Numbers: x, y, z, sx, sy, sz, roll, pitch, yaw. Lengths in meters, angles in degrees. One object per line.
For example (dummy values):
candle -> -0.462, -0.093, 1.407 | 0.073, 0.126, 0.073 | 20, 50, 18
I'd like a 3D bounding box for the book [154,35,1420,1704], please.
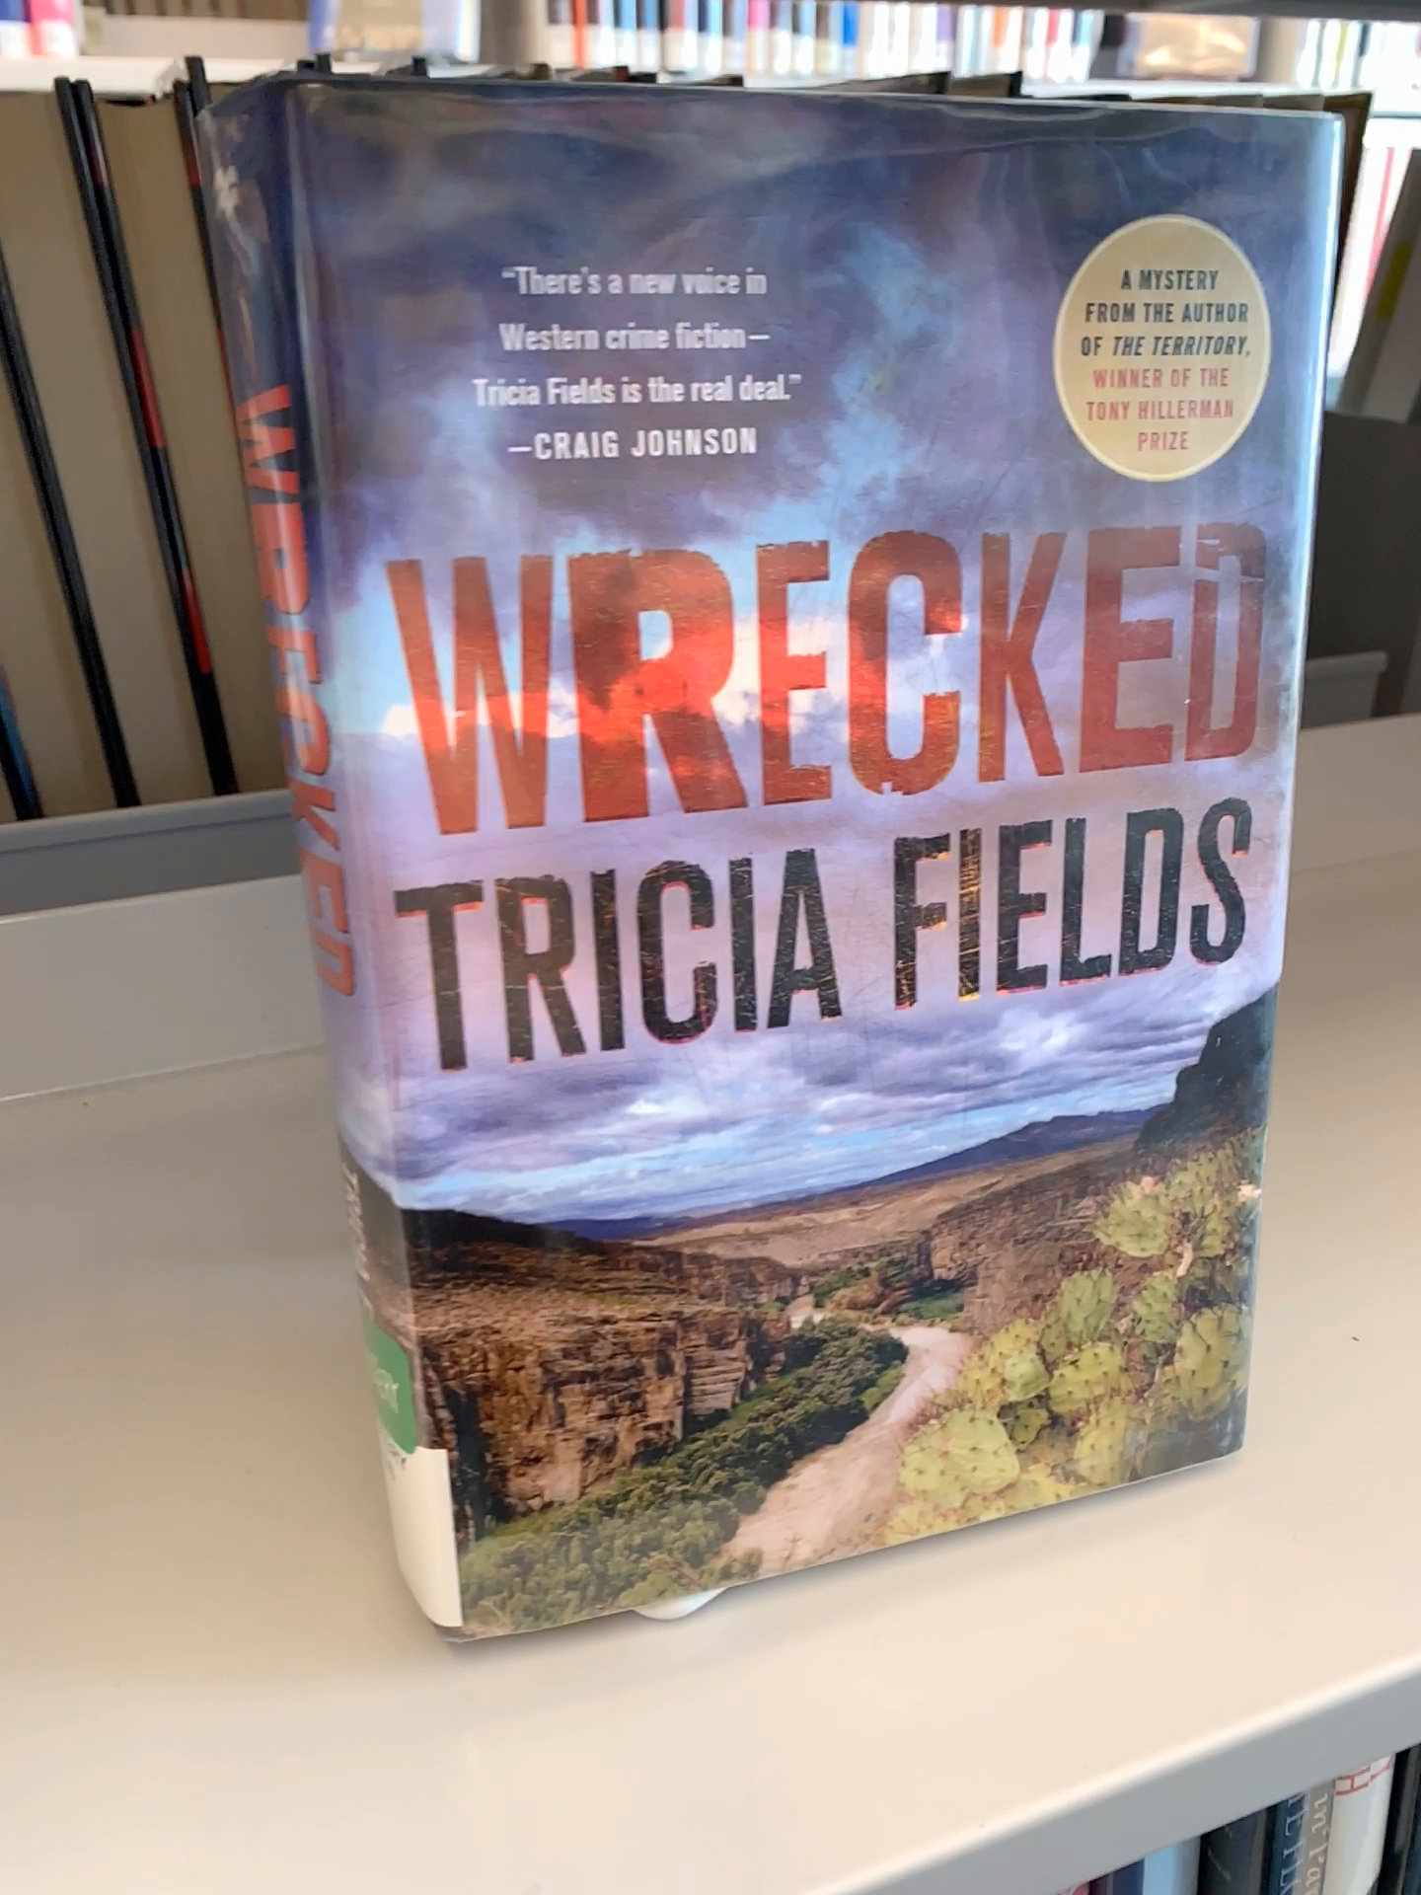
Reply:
book -> 0.016, -0.008, 0.212 | 0.150, 0.202, 0.040 | -8, 18, -15
